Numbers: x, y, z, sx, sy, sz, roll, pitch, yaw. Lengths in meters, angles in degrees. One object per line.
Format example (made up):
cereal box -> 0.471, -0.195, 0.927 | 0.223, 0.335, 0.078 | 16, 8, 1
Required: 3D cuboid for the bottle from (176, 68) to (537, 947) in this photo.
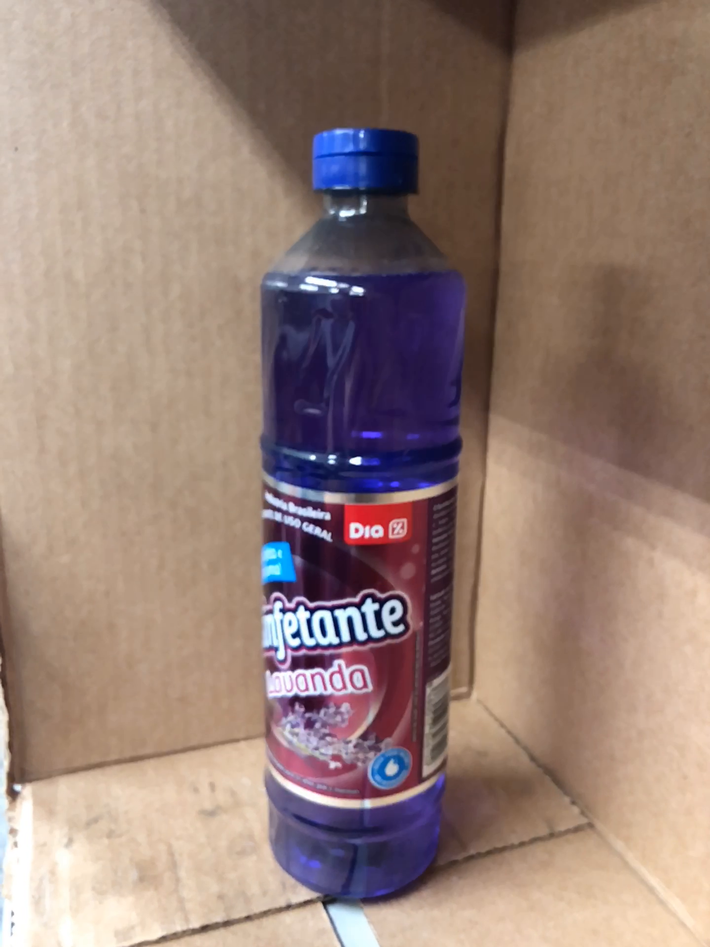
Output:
bottle -> 0.002, 0.014, 0.252 | 0.070, 0.239, 0.070 | 0, 16, 0
